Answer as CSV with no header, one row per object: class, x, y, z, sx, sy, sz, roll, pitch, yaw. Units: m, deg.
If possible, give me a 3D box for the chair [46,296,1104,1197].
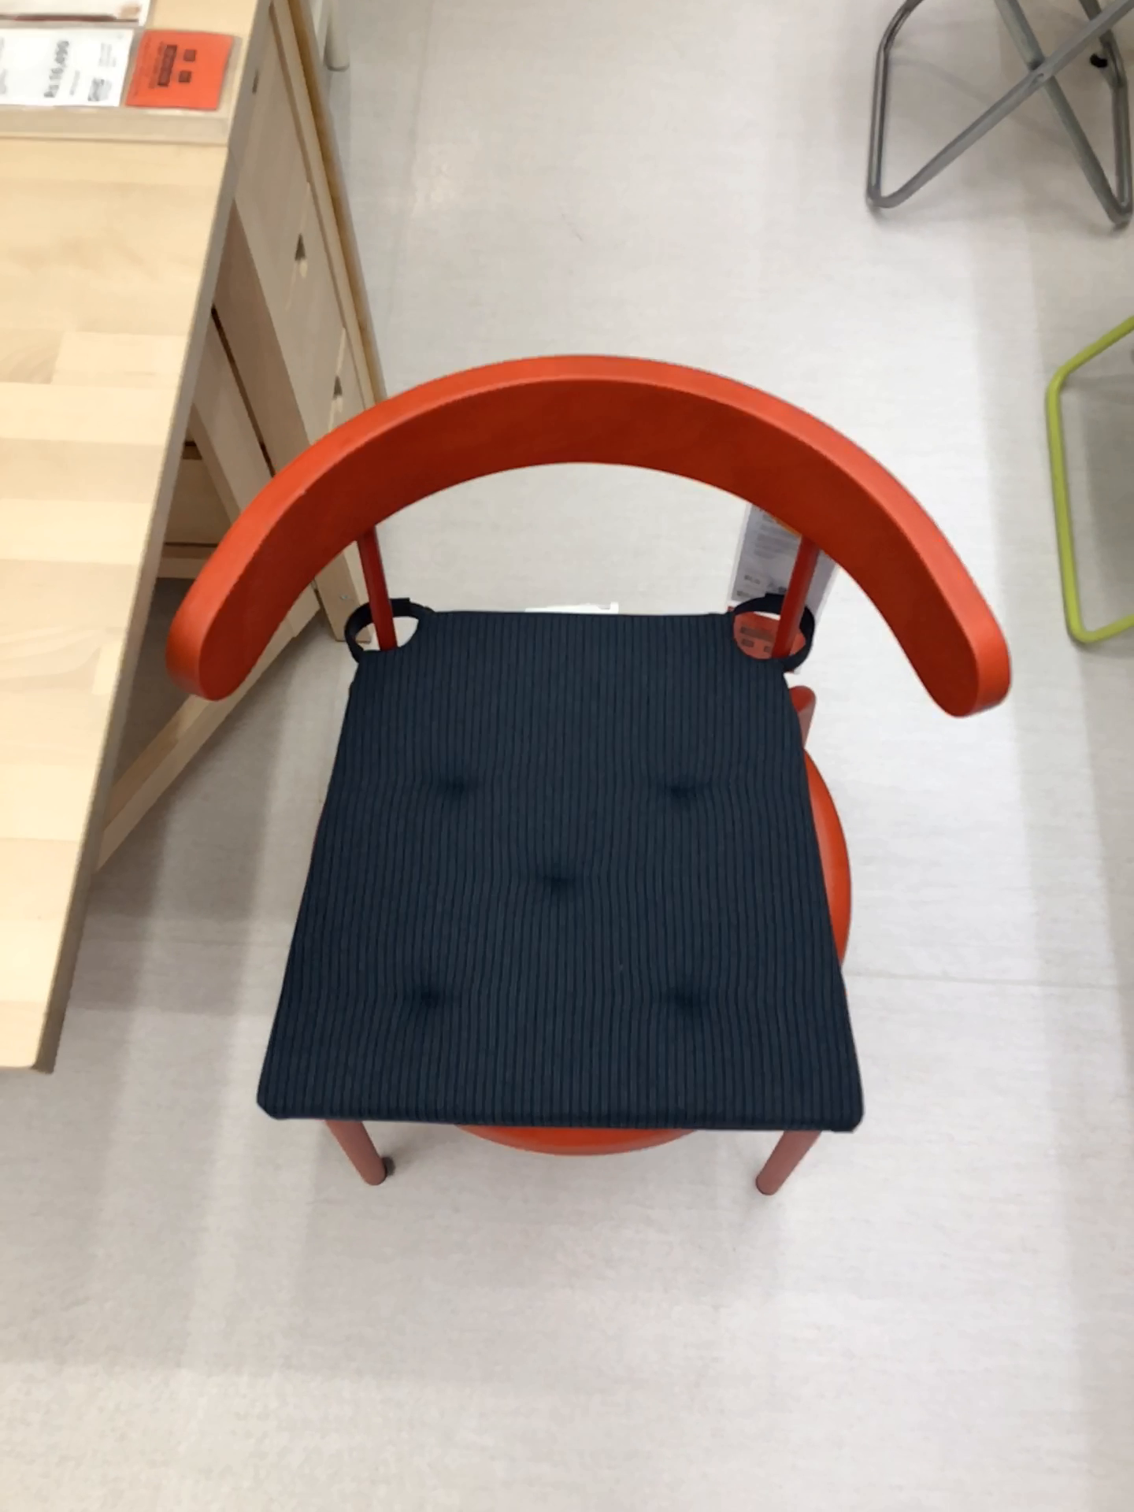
chair,0.009,0.069,1.021,0.520,0.678,0.502,1,67,0
